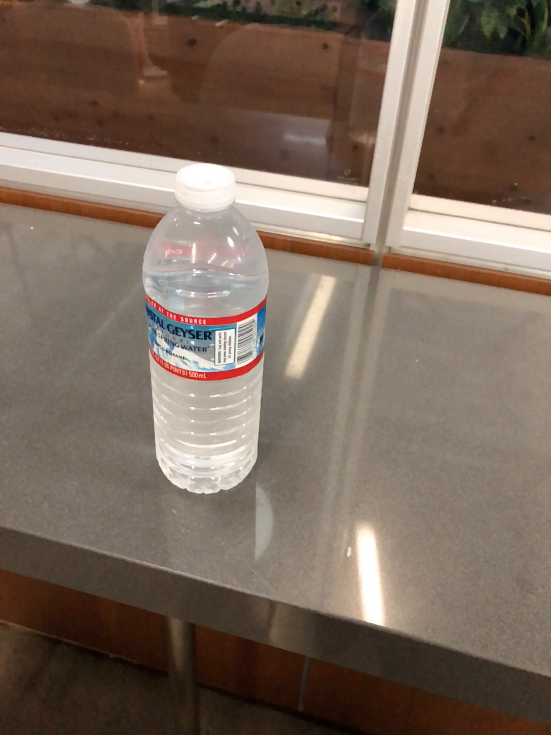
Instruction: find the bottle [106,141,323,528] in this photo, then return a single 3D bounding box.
[{"bbox_3d":[-0.031,-0.012,0.337,0.070,0.189,0.070,2,37,-2],"label":"bottle"}]
